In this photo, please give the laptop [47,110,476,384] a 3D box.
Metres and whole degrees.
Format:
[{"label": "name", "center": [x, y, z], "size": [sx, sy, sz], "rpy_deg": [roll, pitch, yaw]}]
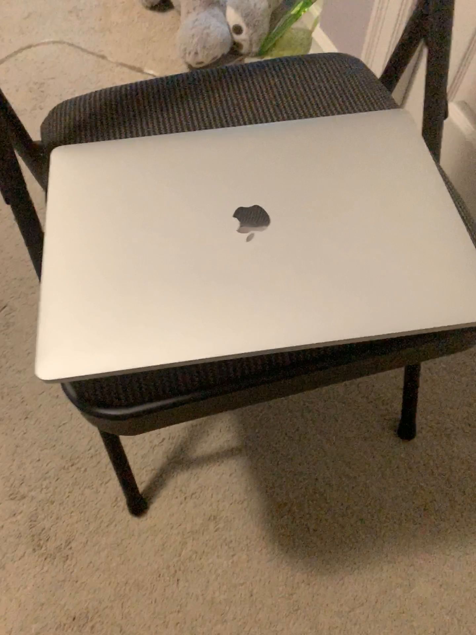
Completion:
[{"label": "laptop", "center": [0.013, -0.075, 0.400], "size": [0.332, 0.001, 0.224], "rpy_deg": [-8, 63, -3]}]
